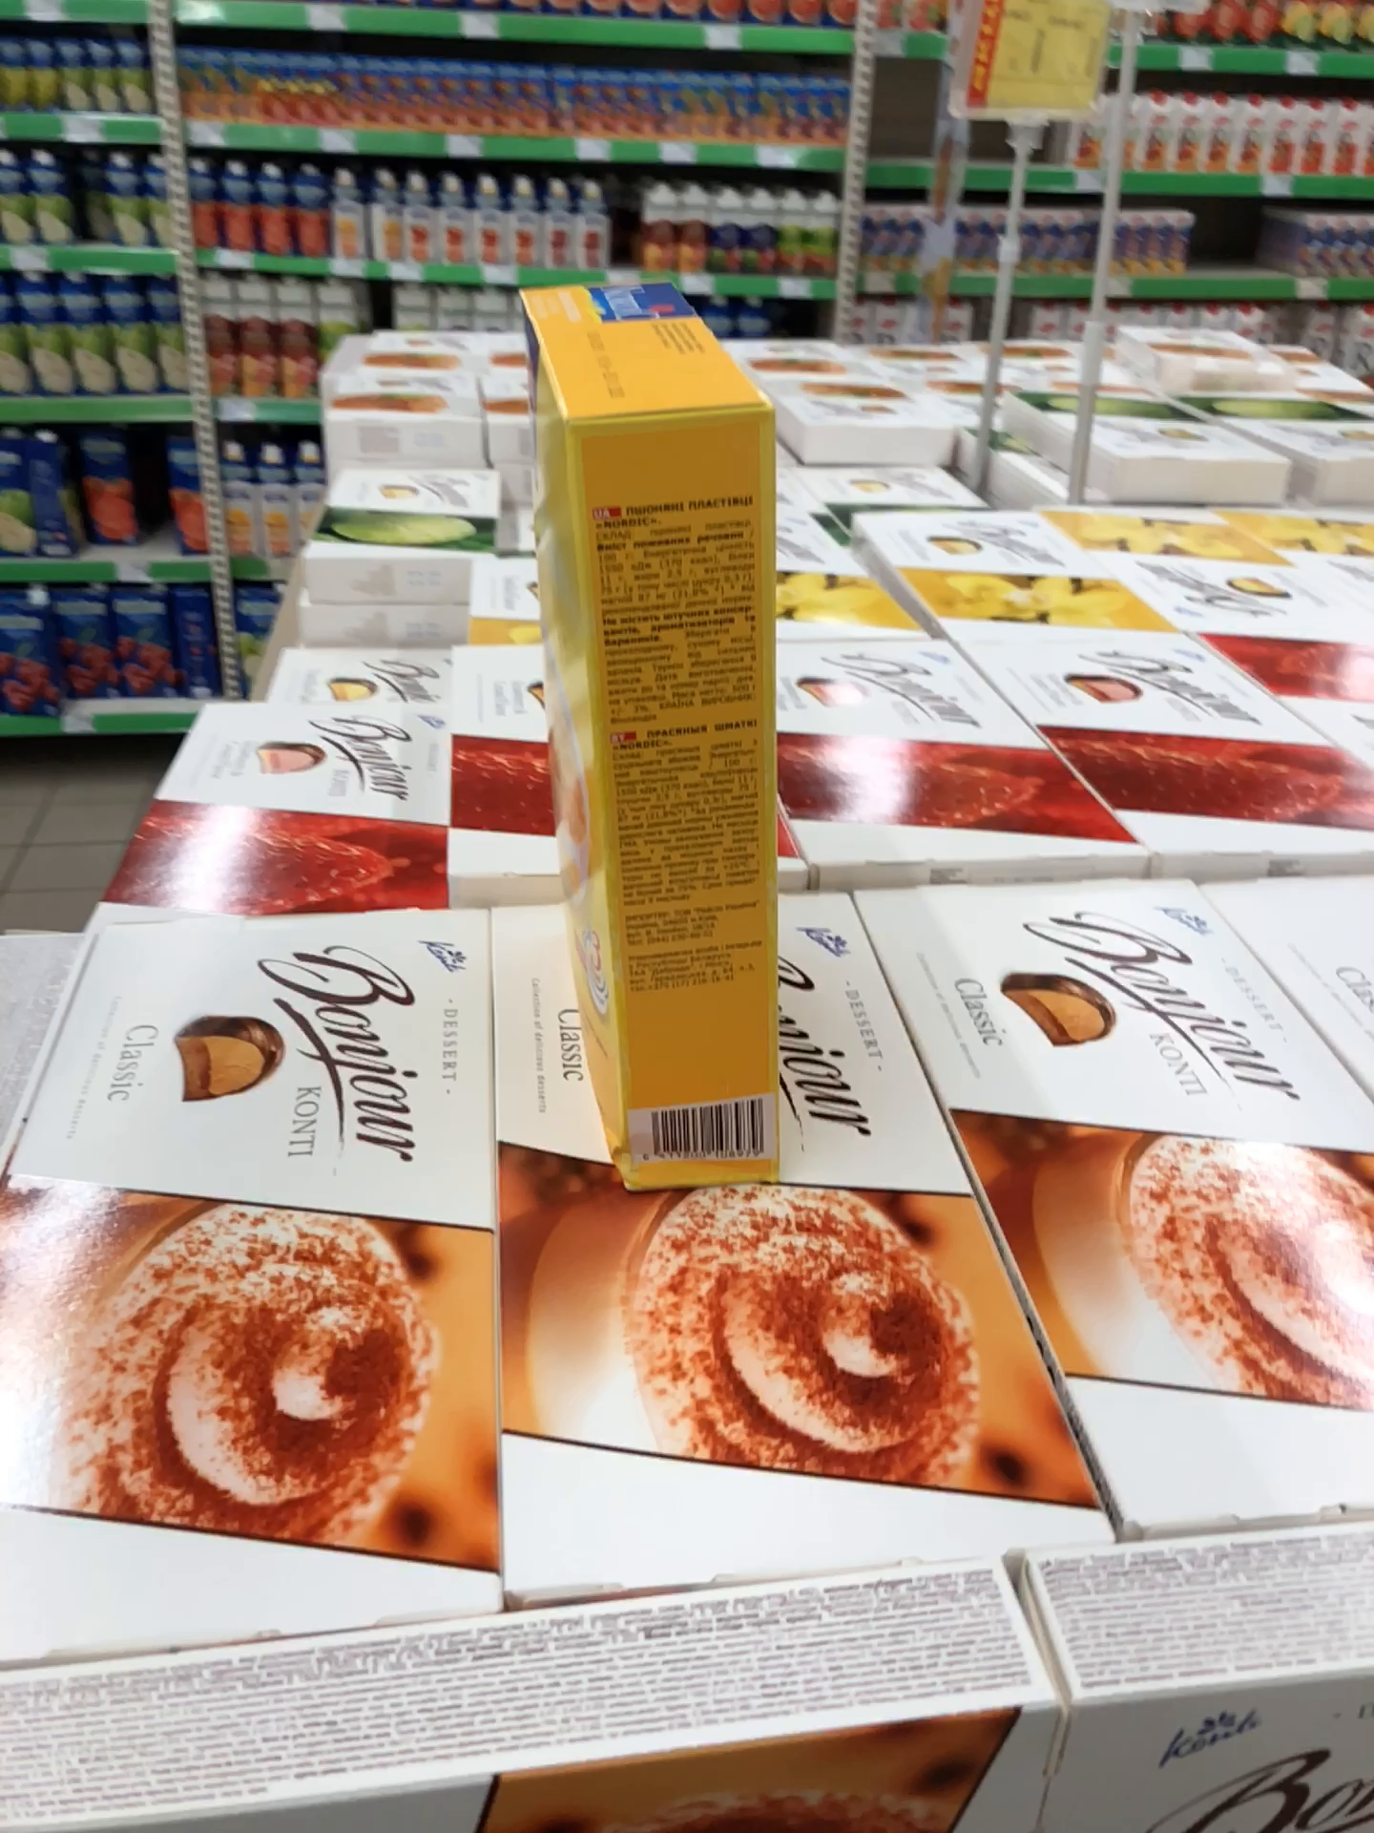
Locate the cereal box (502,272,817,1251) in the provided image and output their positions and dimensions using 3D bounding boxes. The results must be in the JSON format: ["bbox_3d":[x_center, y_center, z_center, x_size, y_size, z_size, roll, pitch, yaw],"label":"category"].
[{"bbox_3d":[-0.008,-0.047,0.421,0.050,0.218,0.161,-8,32,-6],"label":"cereal box"}]
